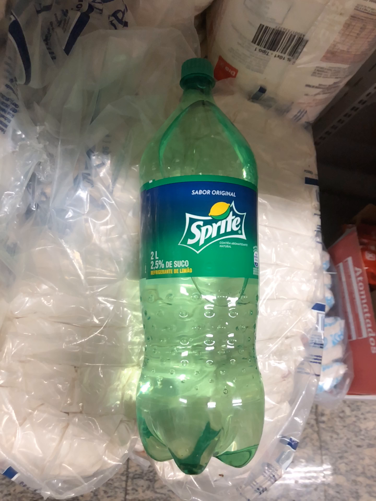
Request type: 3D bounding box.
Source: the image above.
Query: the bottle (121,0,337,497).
[{"bbox_3d":[0.012,-0.029,0.350,0.110,0.110,0.381,2,72,-20],"label":"bottle"}]
